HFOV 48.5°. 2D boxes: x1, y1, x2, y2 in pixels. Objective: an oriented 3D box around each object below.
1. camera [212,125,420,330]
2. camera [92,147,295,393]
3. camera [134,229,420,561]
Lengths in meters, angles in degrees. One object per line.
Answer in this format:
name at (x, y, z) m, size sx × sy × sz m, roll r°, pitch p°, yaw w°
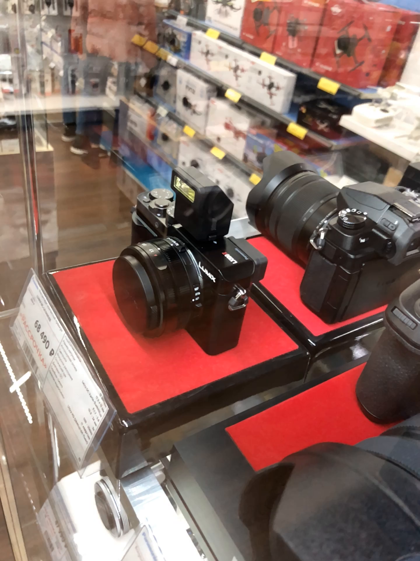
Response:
camera at (0.087, -0.052, 0.362) m, size 0.099 × 0.081 × 0.149 m, roll -13°, pitch 42°, yaw -29°
camera at (-0.021, -0.014, 0.301) m, size 0.069 × 0.098 × 0.117 m, roll -15°, pitch 43°, yaw -31°
camera at (0.114, 0.091, 0.186) m, size 0.226 × 0.114 × 0.176 m, roll -15°, pitch 43°, yaw -31°
